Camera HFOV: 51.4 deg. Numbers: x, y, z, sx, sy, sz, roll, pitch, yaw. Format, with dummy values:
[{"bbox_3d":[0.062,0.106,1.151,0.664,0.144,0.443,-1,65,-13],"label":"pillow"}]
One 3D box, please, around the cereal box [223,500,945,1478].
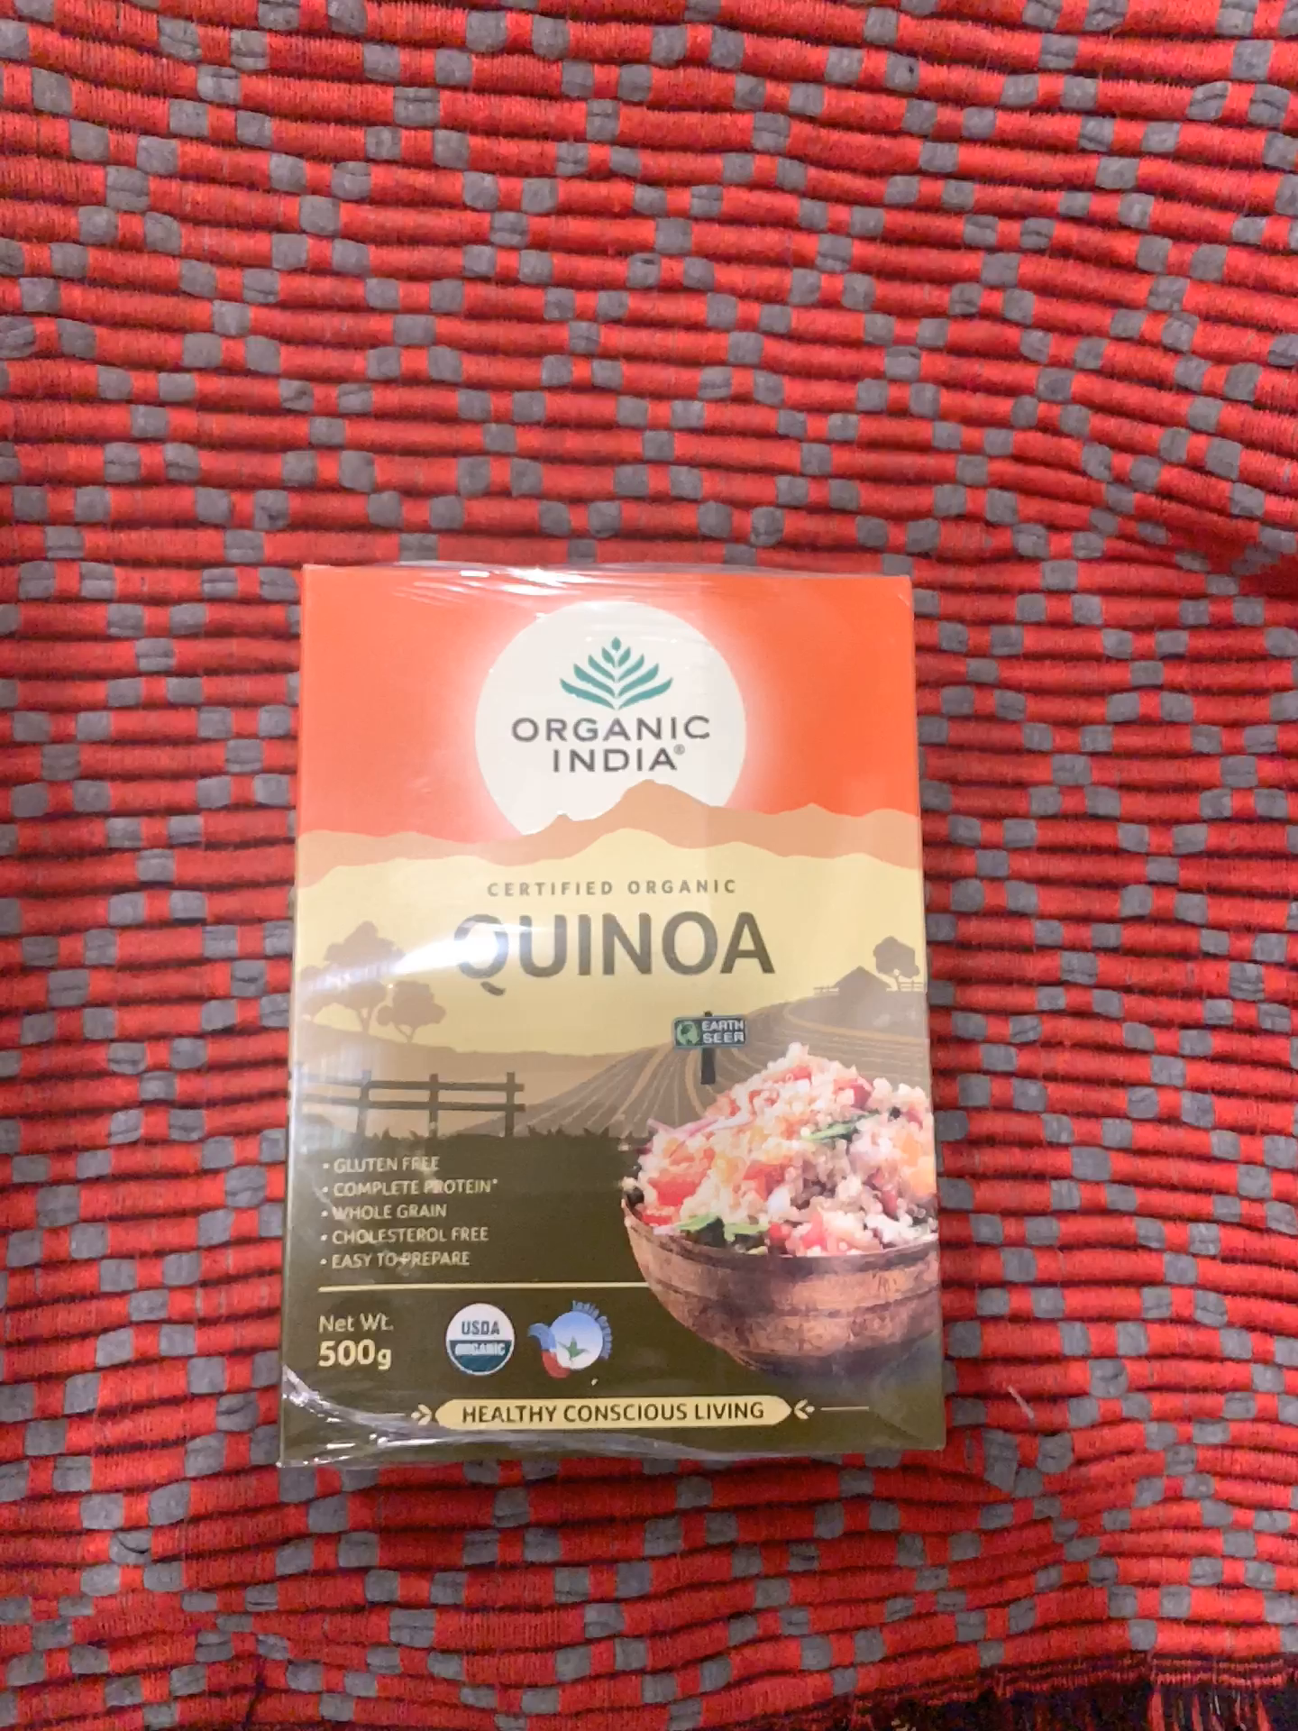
[{"bbox_3d":[-0.013,0.023,0.288,0.130,0.070,0.180,0,83,-4],"label":"cereal box"}]
